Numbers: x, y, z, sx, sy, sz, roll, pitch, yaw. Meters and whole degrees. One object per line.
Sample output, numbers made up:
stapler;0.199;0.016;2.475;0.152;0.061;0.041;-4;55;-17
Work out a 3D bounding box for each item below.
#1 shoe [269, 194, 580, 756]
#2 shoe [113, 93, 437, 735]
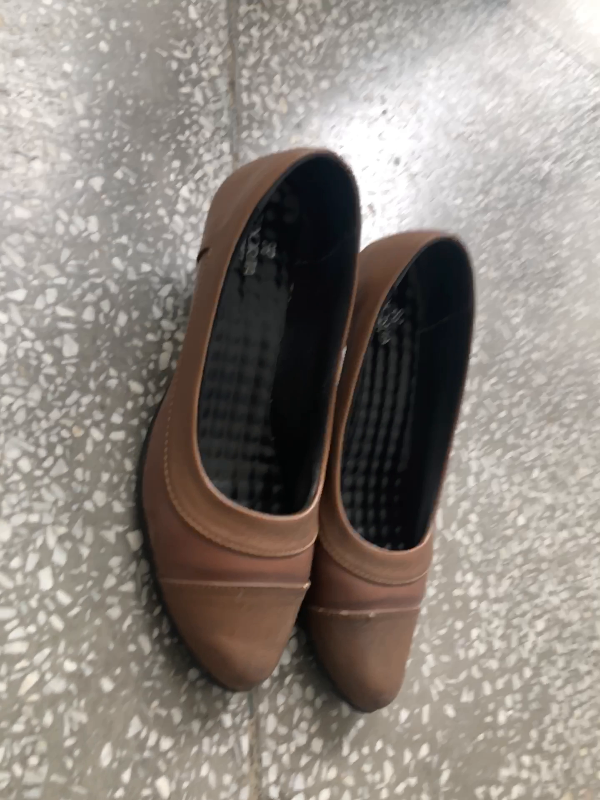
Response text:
shoe;0.053;0.036;0.342;0.093;0.096;0.241;10;68;-35
shoe;-0.017;0.007;0.302;0.090;0.096;0.244;11;67;-34
